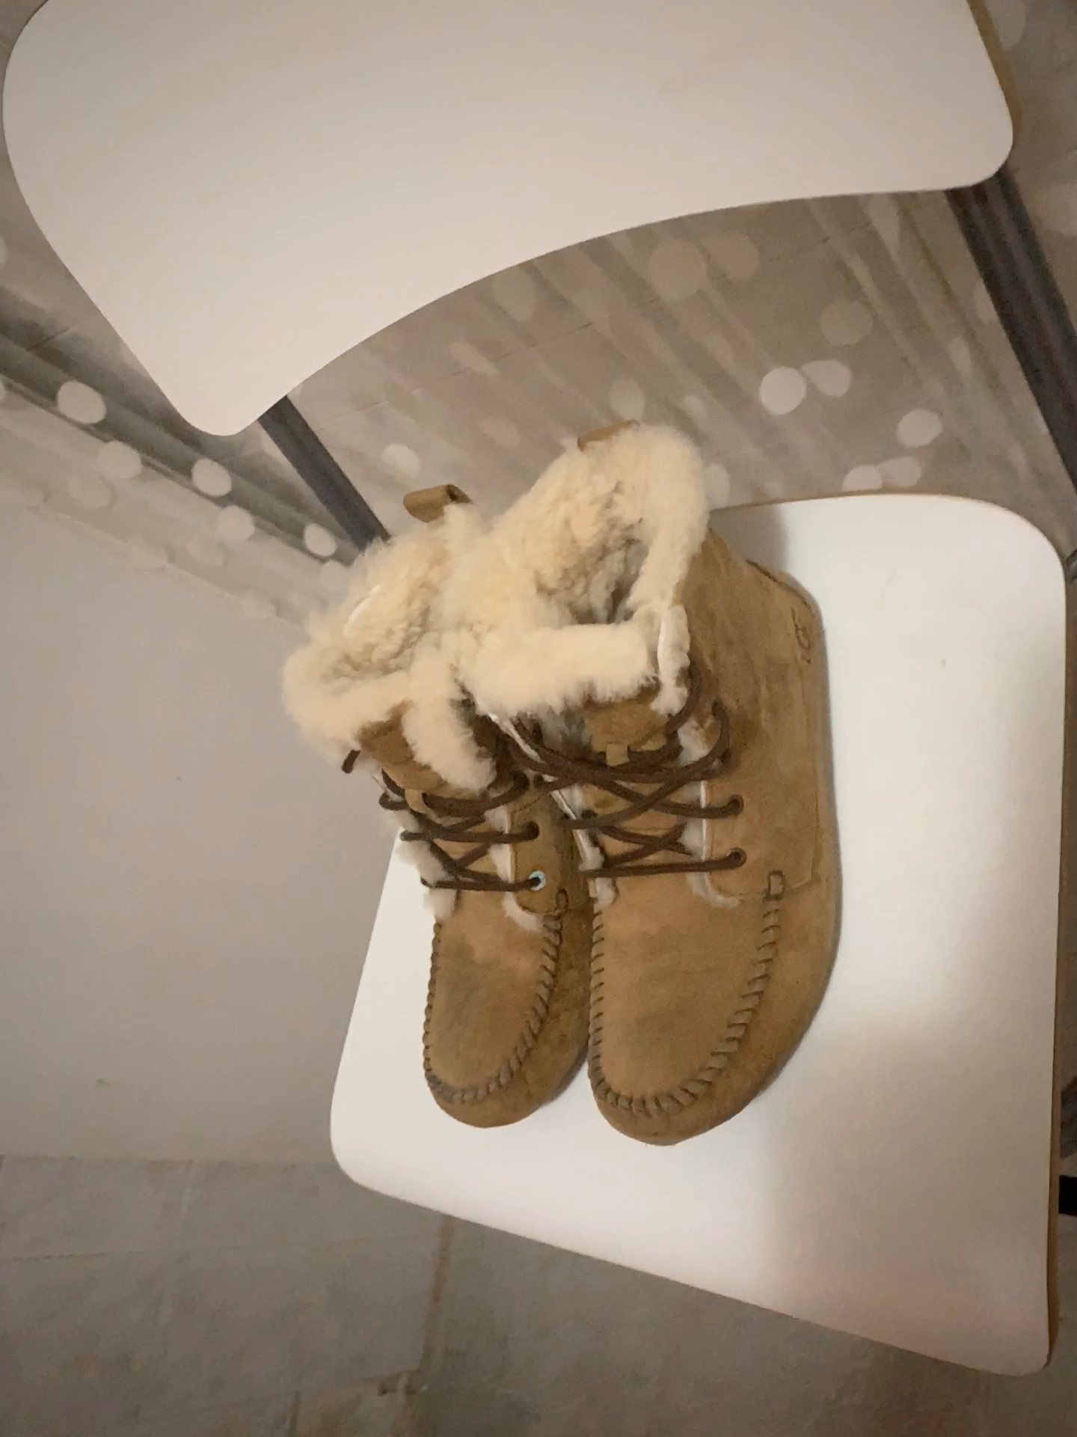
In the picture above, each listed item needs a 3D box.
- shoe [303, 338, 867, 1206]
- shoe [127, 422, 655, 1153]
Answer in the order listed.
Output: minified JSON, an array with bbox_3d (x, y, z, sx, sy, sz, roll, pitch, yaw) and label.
[{"bbox_3d":[0.033,0.030,0.398,0.114,0.157,0.252,-8,67,37],"label":"shoe"},{"bbox_3d":[-0.046,0.039,0.459,0.107,0.155,0.252,-8,67,37],"label":"shoe"}]
